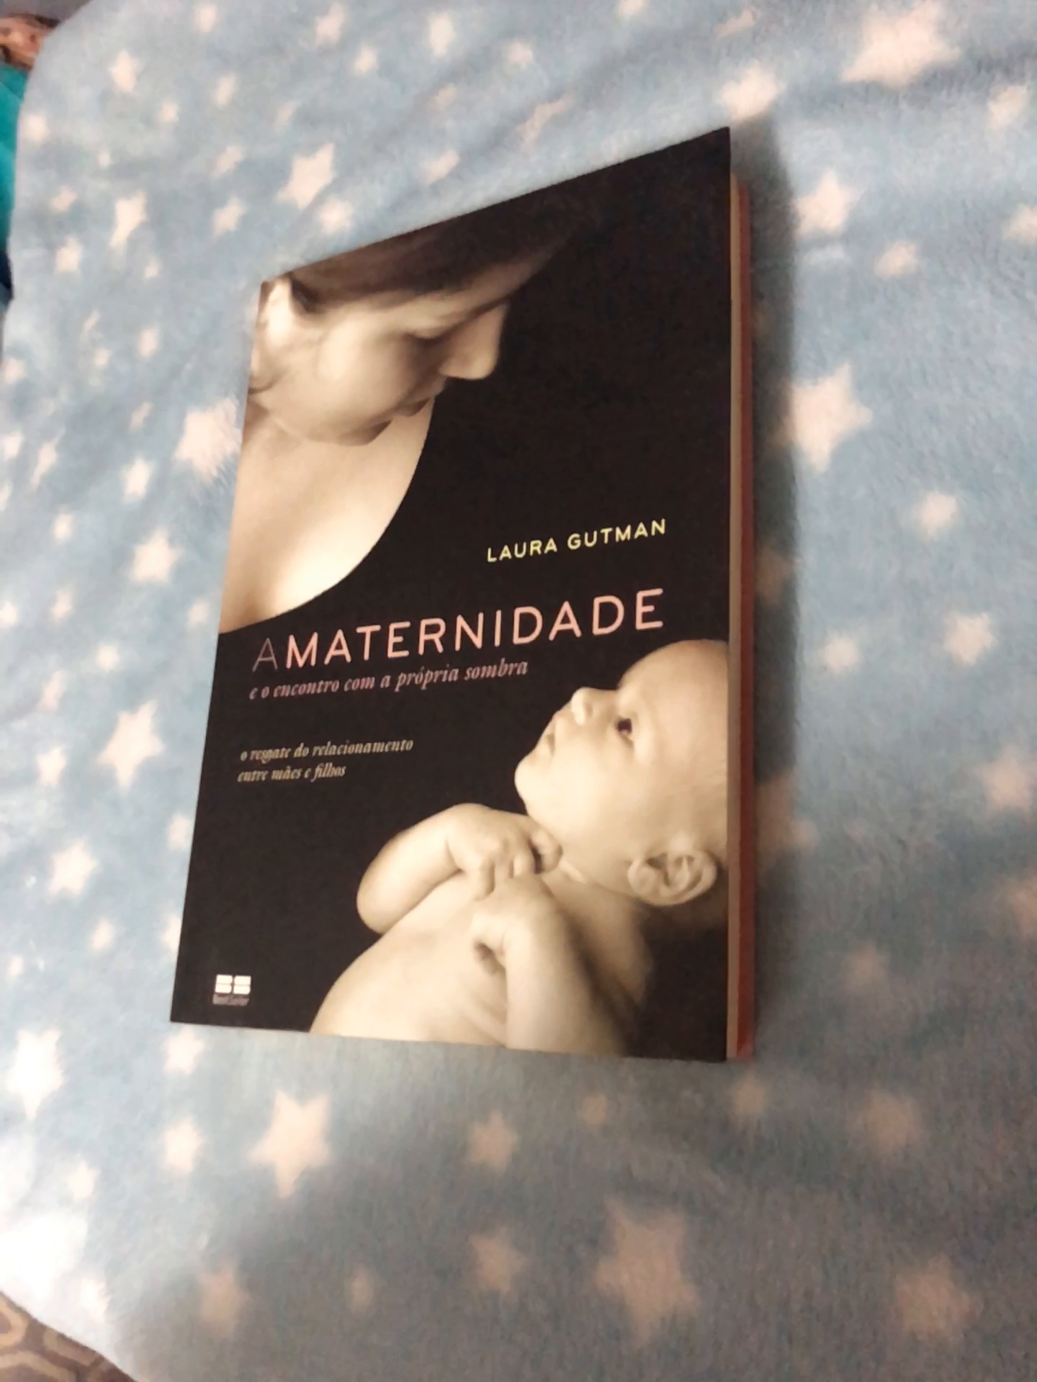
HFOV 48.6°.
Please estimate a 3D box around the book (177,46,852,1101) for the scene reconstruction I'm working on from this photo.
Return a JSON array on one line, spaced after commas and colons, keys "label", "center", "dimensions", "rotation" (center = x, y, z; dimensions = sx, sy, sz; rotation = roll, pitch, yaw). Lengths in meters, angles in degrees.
[{"label": "book", "center": [0.000, -0.030, 0.295], "dimensions": [0.160, 0.030, 0.240], "rotation": [-5, 72, 29]}]
